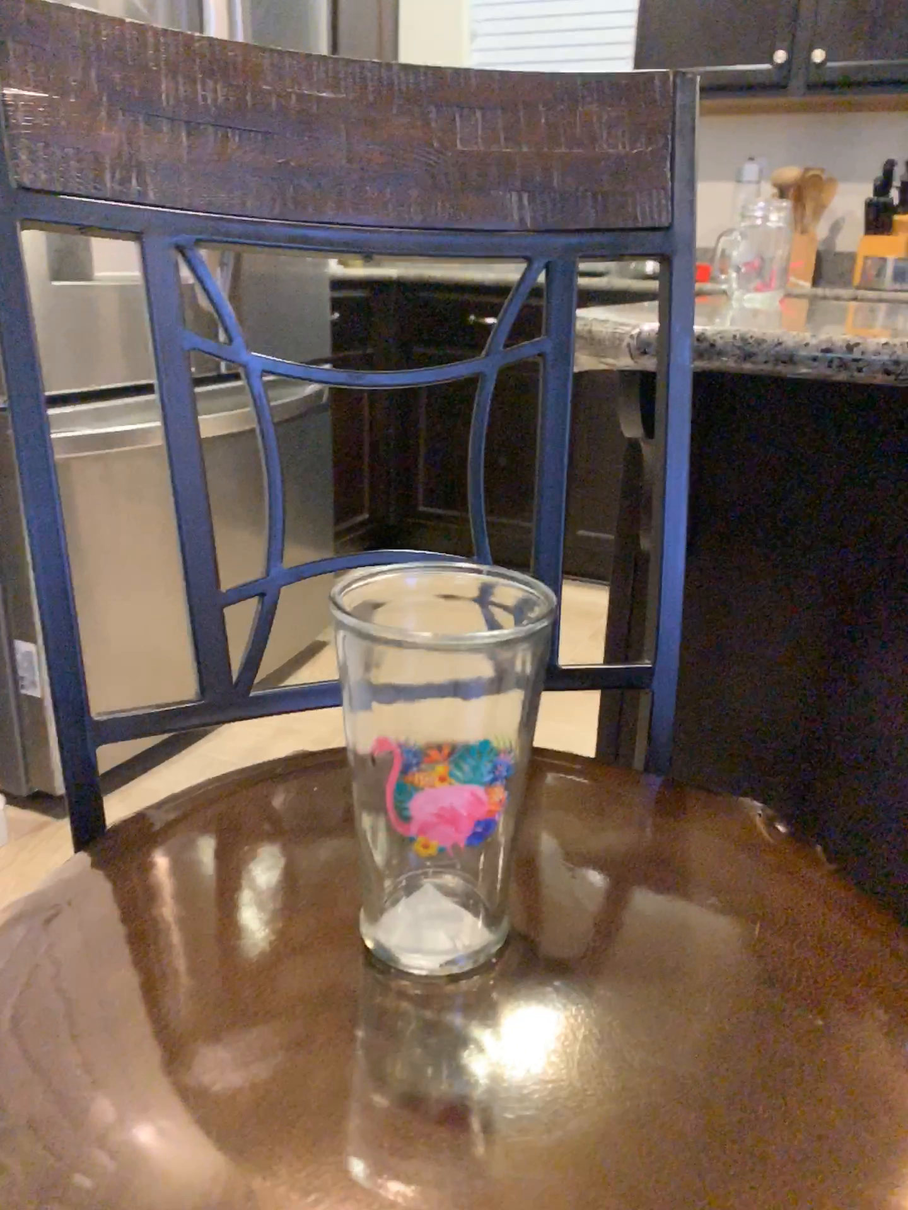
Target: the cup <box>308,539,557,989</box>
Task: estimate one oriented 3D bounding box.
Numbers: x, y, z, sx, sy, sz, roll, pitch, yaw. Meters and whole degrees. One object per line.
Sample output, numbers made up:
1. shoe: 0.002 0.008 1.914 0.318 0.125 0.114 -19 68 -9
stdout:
1. cup: -0.011 0.059 0.363 0.080 0.149 0.081 2 19 -1
